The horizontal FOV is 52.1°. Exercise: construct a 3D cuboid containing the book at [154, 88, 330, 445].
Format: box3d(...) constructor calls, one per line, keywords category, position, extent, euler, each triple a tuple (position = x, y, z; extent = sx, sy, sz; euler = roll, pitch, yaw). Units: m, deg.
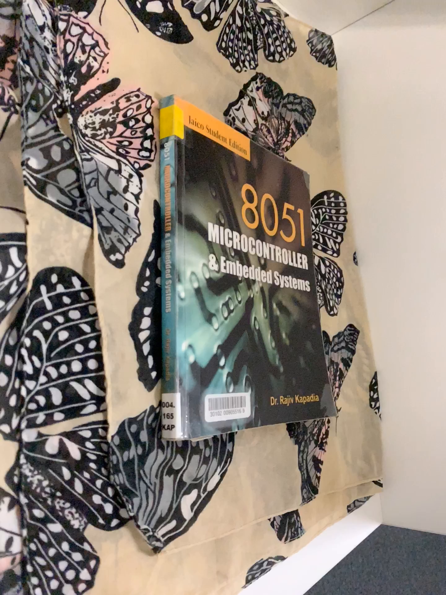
box3d(category="book", position=(0.023, -0.017, 0.367), extent=(0.184, 0.020, 0.236), euler=(10, 74, -48))
